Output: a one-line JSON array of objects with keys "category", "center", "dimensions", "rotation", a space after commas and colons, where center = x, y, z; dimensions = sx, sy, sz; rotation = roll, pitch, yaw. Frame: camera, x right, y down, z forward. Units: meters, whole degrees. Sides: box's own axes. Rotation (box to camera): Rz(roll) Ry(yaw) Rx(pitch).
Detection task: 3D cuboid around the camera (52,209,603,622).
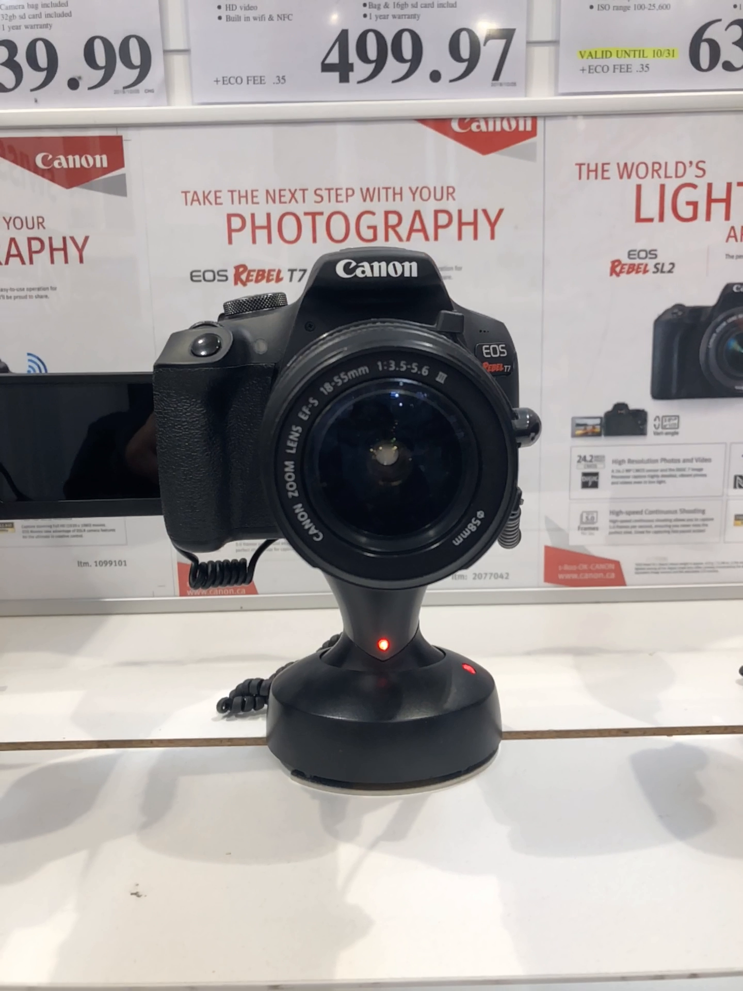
[{"category": "camera", "center": [-0.008, -0.032, 0.272], "dimensions": [0.130, 0.100, 0.140], "rotation": [-1, 12, 2]}]
